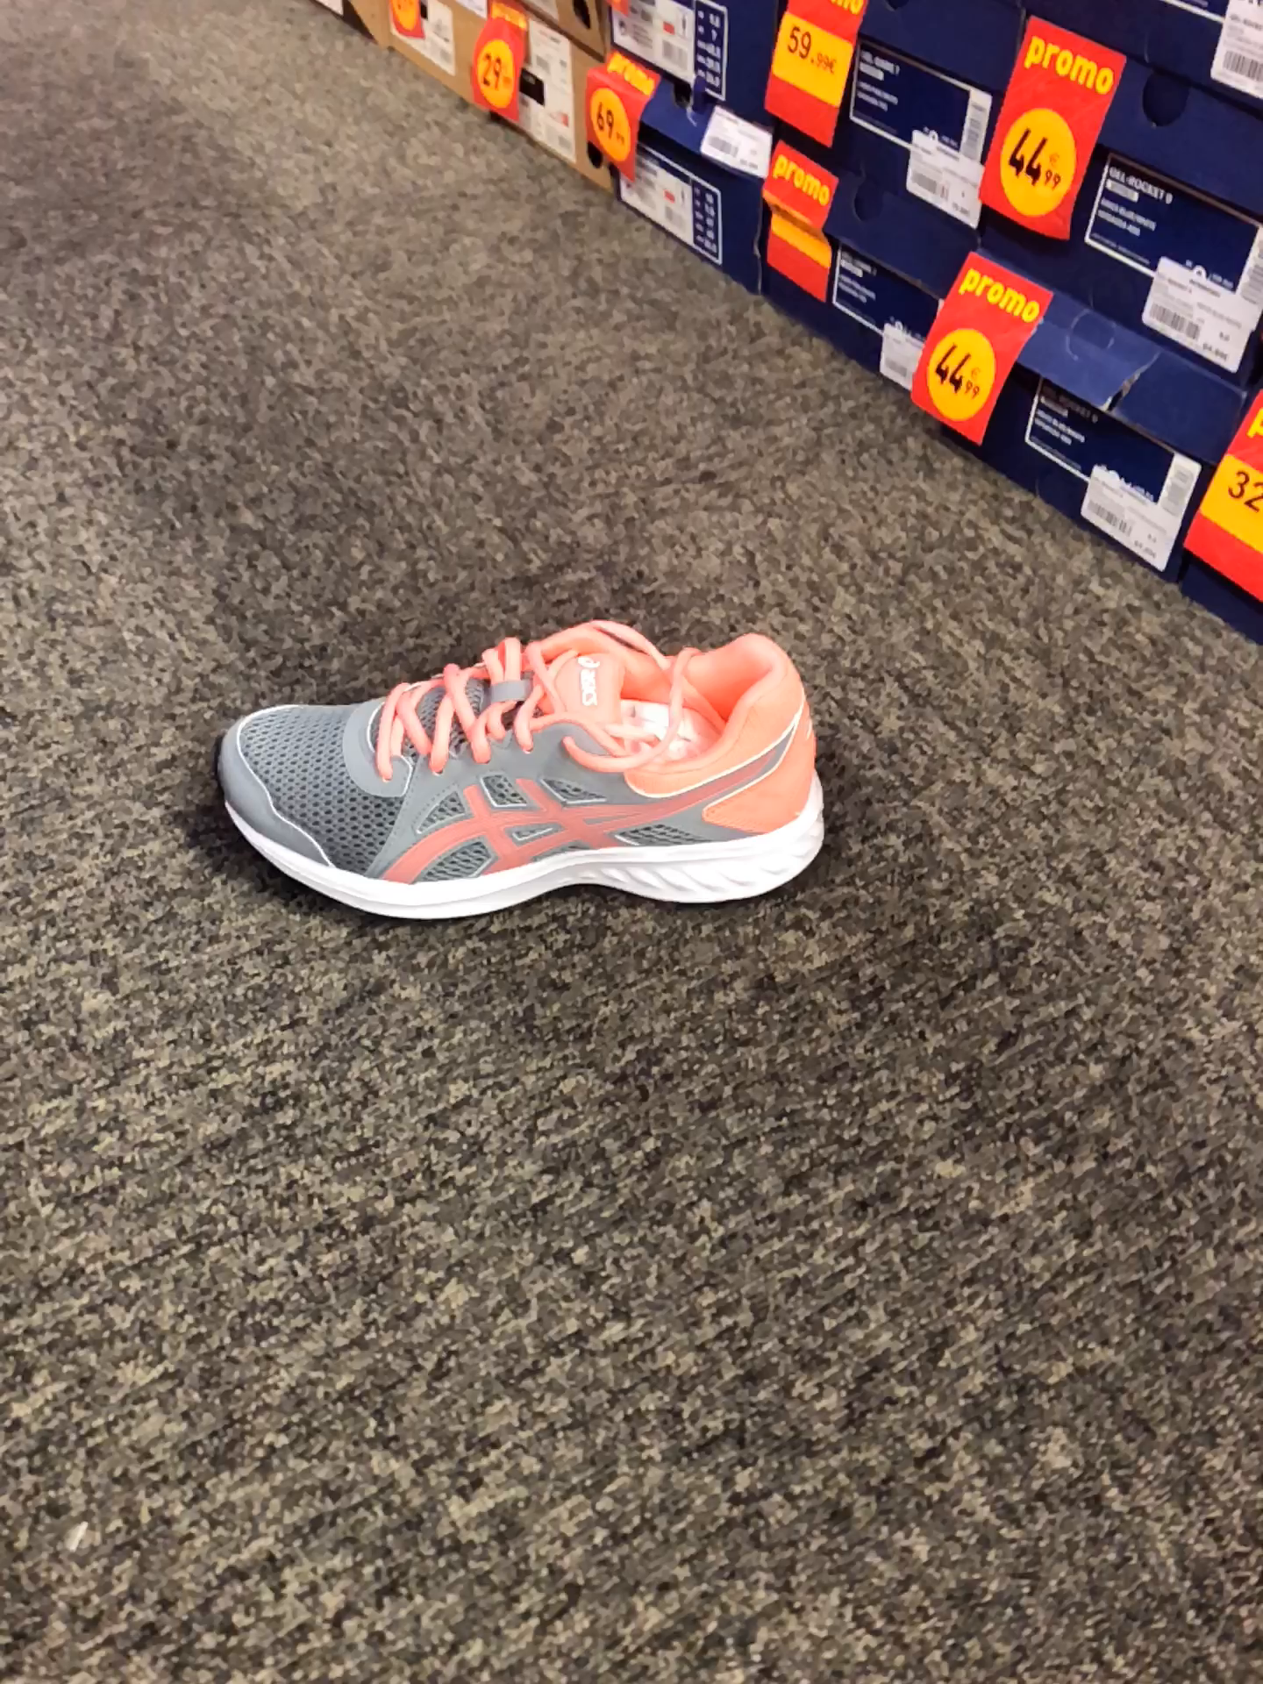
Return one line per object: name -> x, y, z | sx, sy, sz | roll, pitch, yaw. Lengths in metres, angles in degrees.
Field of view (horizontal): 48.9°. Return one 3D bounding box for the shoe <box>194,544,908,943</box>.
shoe -> -0.028, -0.040, 0.565 | 0.250, 0.109, 0.111 | 1, 46, -1
